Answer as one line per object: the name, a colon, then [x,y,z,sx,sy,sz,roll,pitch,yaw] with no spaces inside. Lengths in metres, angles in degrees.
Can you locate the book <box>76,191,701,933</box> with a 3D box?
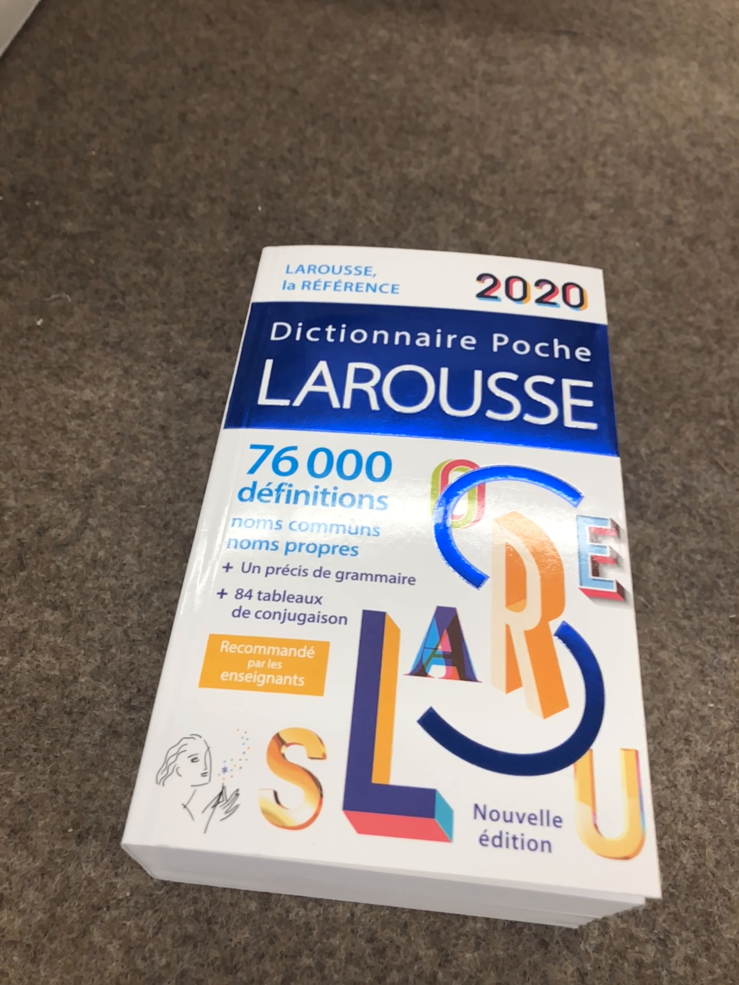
book: [0.008,0.010,0.228,0.116,0.060,0.185,7,57,-4]
